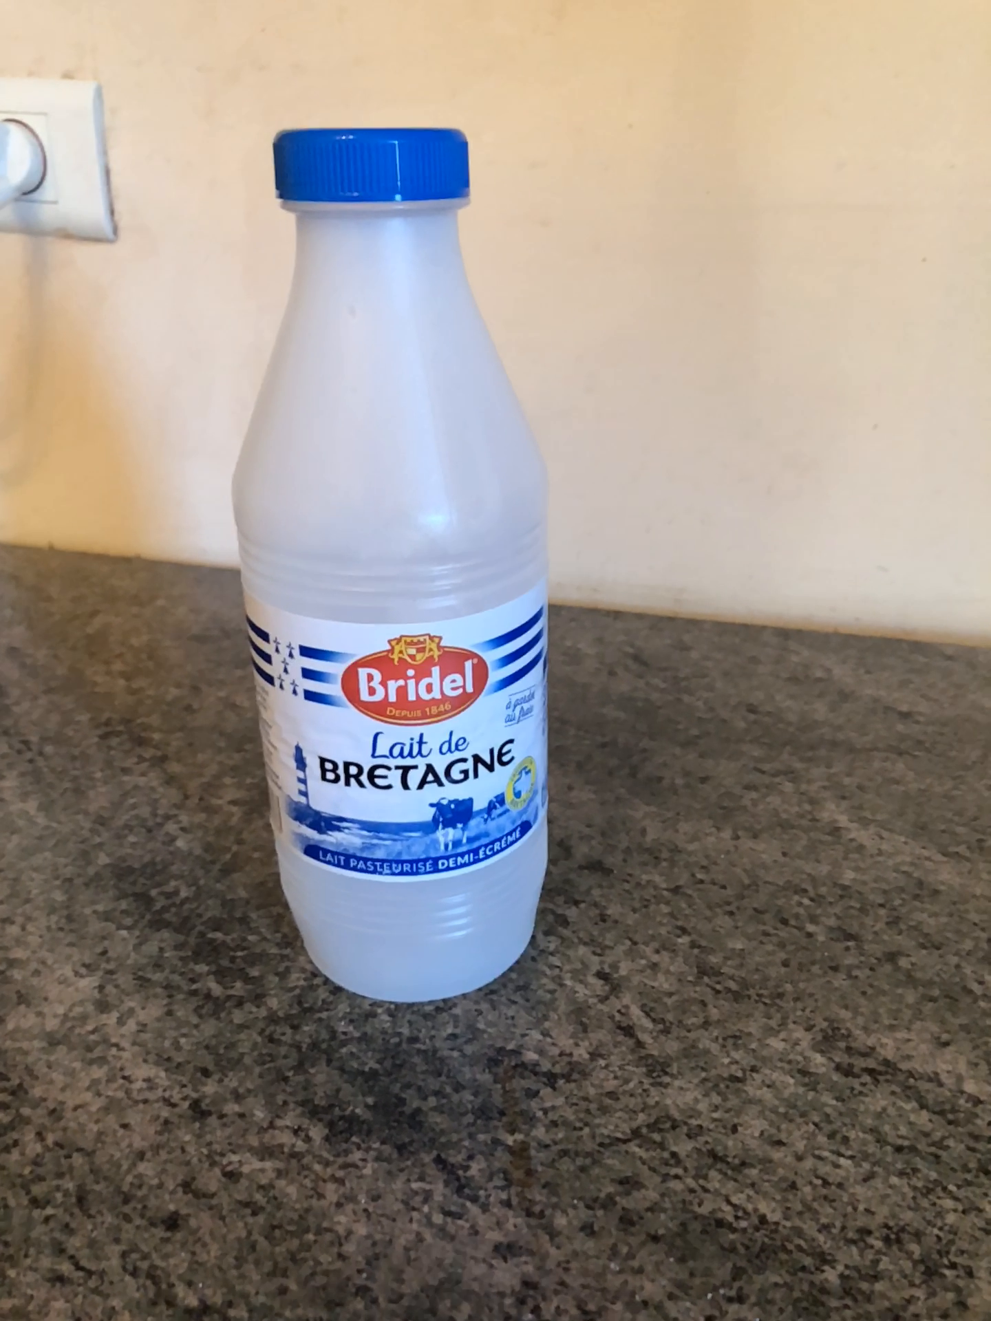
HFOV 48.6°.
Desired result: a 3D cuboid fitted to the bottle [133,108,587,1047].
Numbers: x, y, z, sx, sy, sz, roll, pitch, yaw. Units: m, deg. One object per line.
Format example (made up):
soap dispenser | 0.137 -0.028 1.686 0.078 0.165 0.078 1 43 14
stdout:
bottle | -0.030 -0.019 0.308 0.090 0.239 0.090 0 24 0
